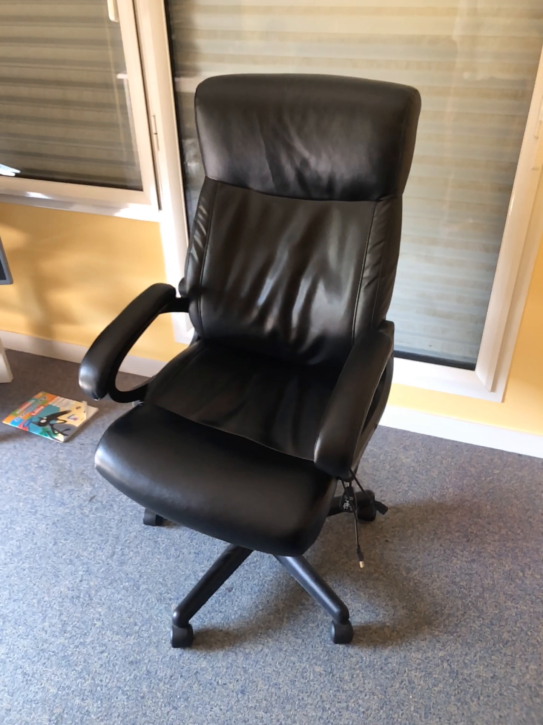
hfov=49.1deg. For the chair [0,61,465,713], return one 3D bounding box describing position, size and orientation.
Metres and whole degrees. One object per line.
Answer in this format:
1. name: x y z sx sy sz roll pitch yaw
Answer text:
1. chair: -0.047 0.007 1.333 0.660 1.113 0.755 12 36 19
